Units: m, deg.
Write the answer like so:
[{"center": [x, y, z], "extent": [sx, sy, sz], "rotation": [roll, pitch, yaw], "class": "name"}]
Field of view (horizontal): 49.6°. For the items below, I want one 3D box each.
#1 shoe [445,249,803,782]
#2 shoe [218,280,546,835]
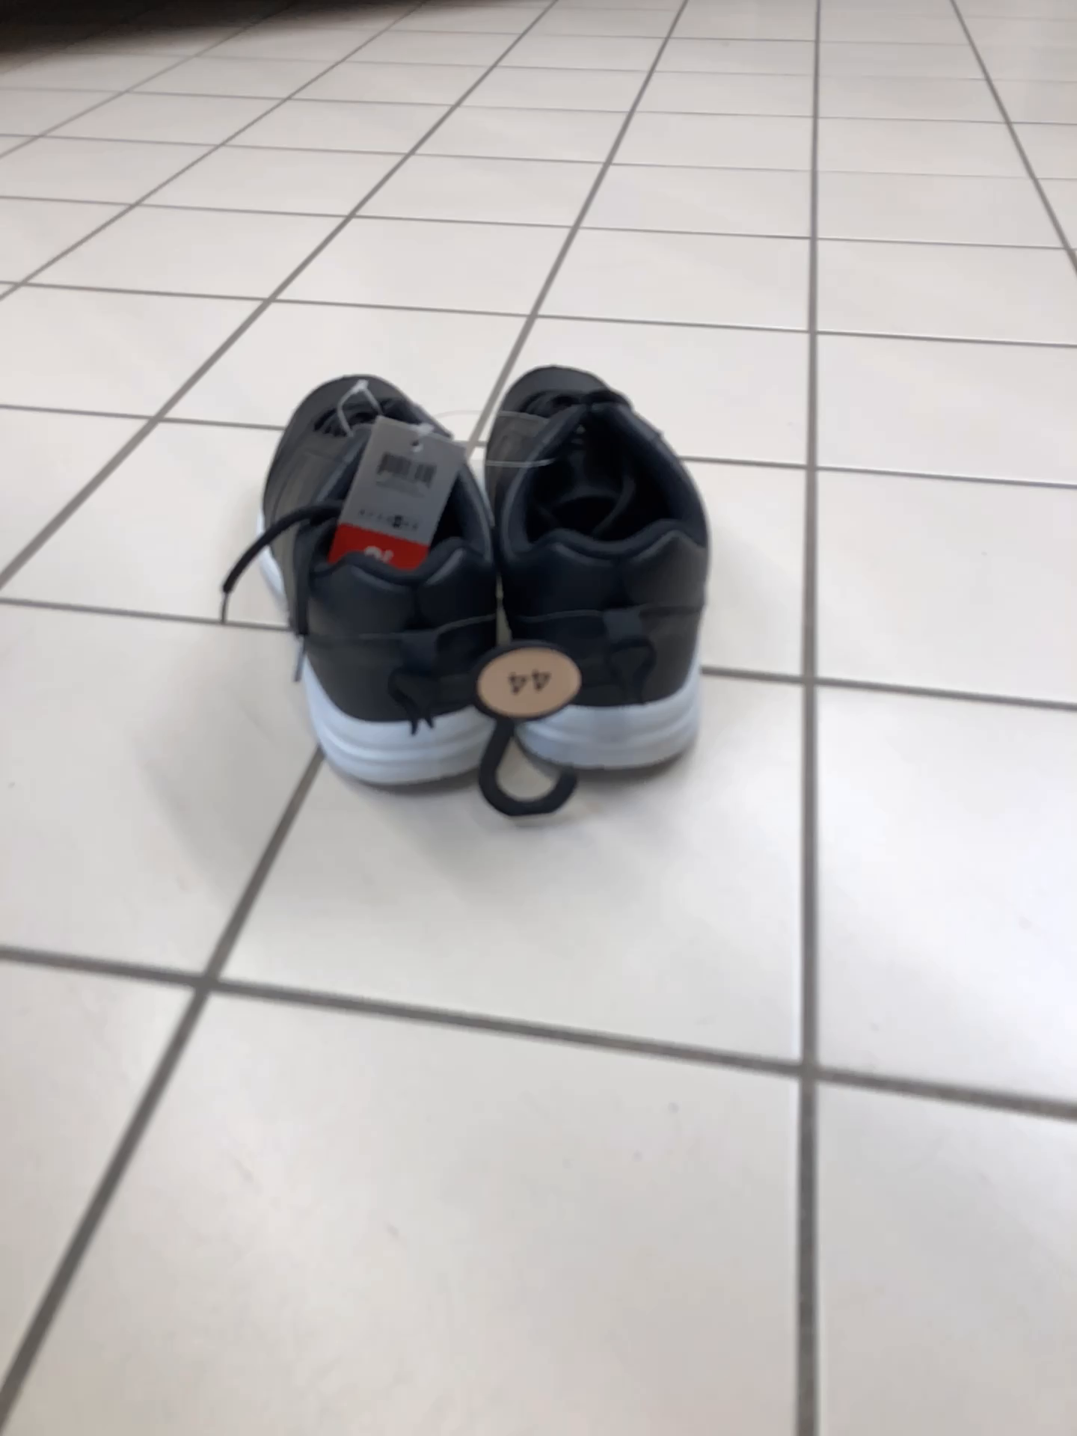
[{"center": [0.023, -0.116, 0.565], "extent": [0.110, 0.119, 0.292], "rotation": [-5, 40, -5], "class": "shoe"}, {"center": [-0.084, -0.097, 0.560], "extent": [0.110, 0.119, 0.291], "rotation": [-9, 40, -10], "class": "shoe"}]
